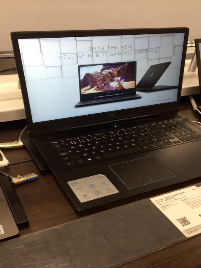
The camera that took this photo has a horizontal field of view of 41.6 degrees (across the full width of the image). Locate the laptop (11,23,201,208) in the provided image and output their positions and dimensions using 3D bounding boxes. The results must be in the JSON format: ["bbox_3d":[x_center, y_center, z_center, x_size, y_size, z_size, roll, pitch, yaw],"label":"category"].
[{"bbox_3d":[0.087,-0.073,0.563,0.422,0.228,0.303,-14,43,-22],"label":"laptop"}]
